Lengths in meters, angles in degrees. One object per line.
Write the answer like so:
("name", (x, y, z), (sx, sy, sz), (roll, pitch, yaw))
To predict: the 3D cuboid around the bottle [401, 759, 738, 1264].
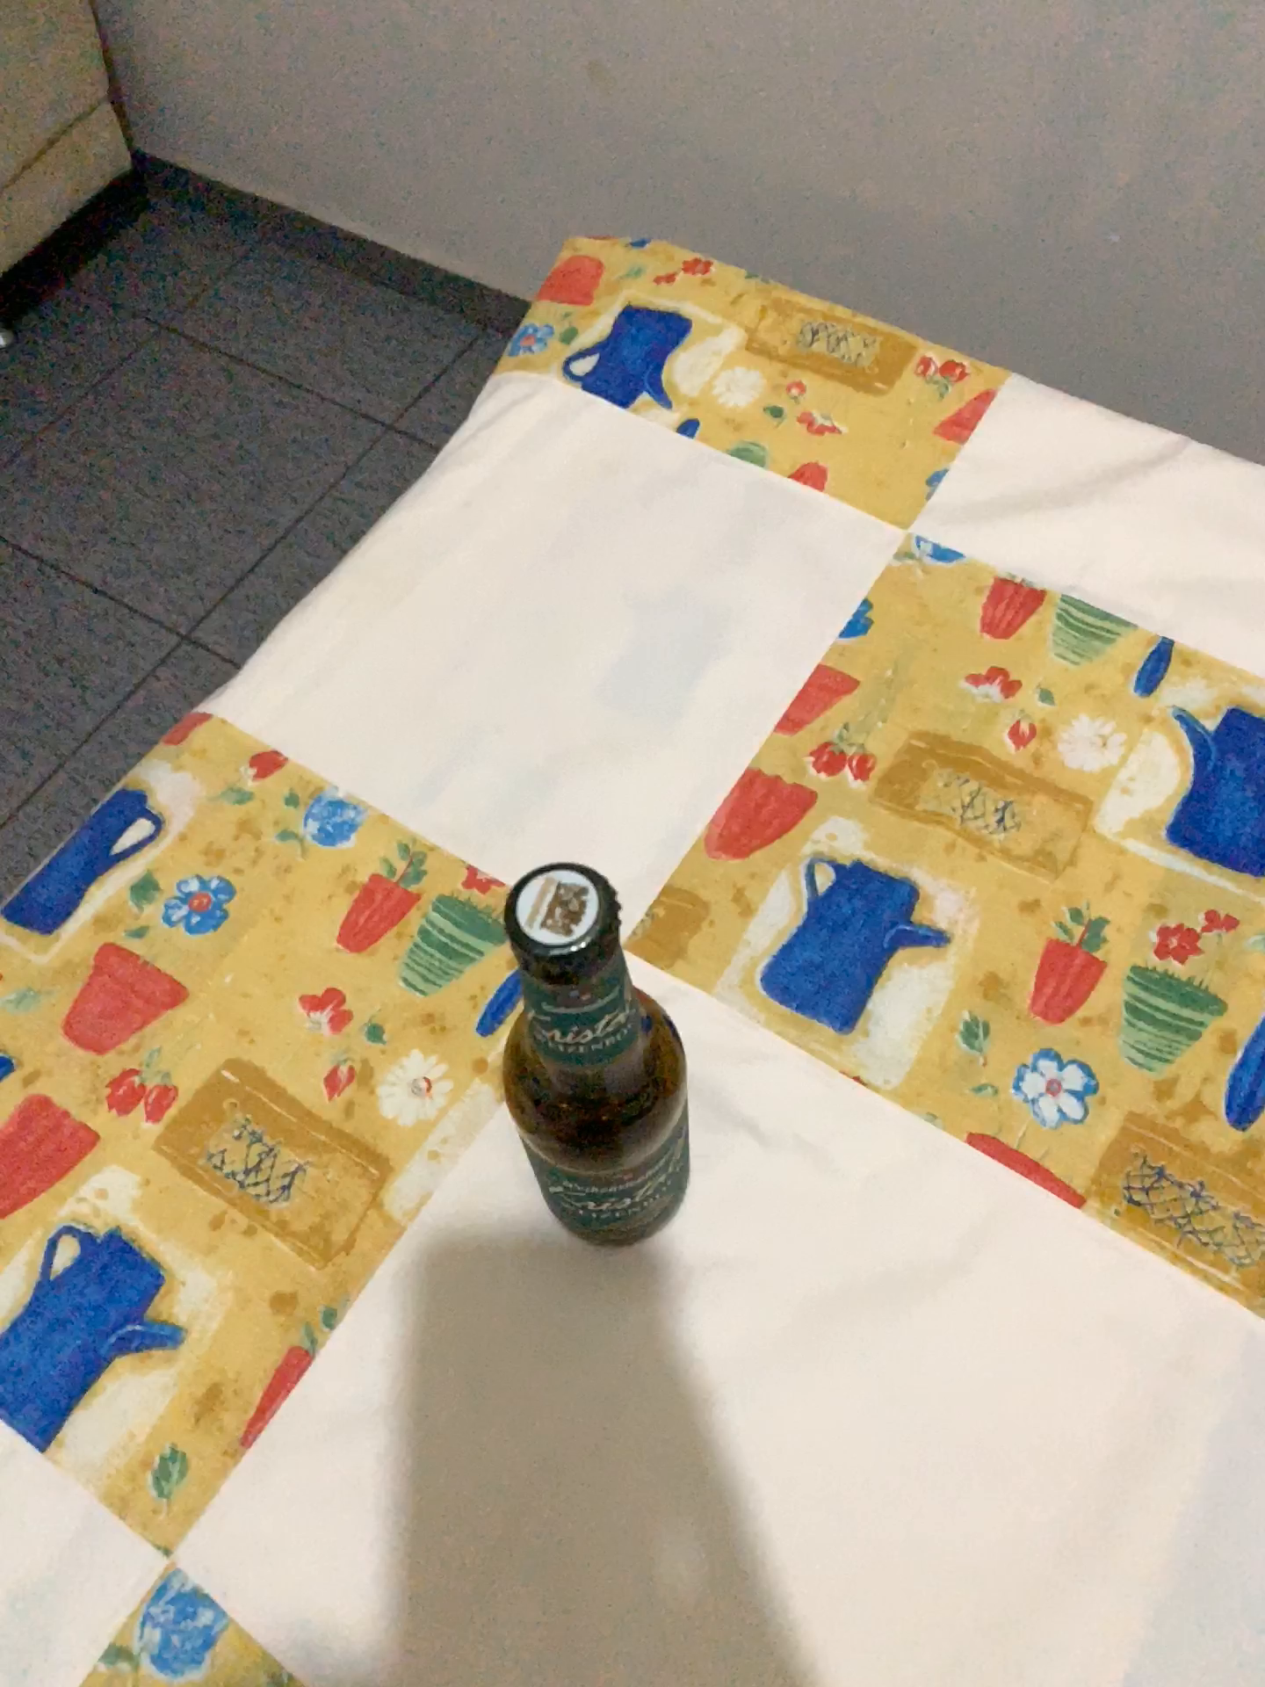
("bottle", (-0.011, 0.069, 0.406), (0.070, 0.229, 0.060), (-12, 60, -4))
